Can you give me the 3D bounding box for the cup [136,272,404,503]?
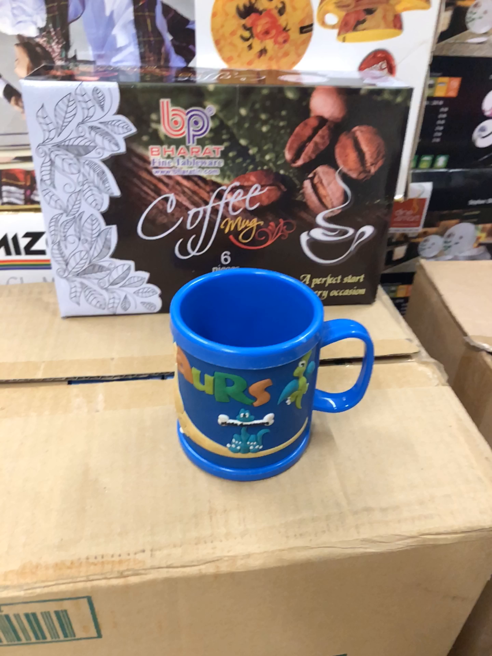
[{"bbox_3d":[0.008,0.031,0.306,0.120,0.089,0.091,0,36,-3],"label":"cup"}]
